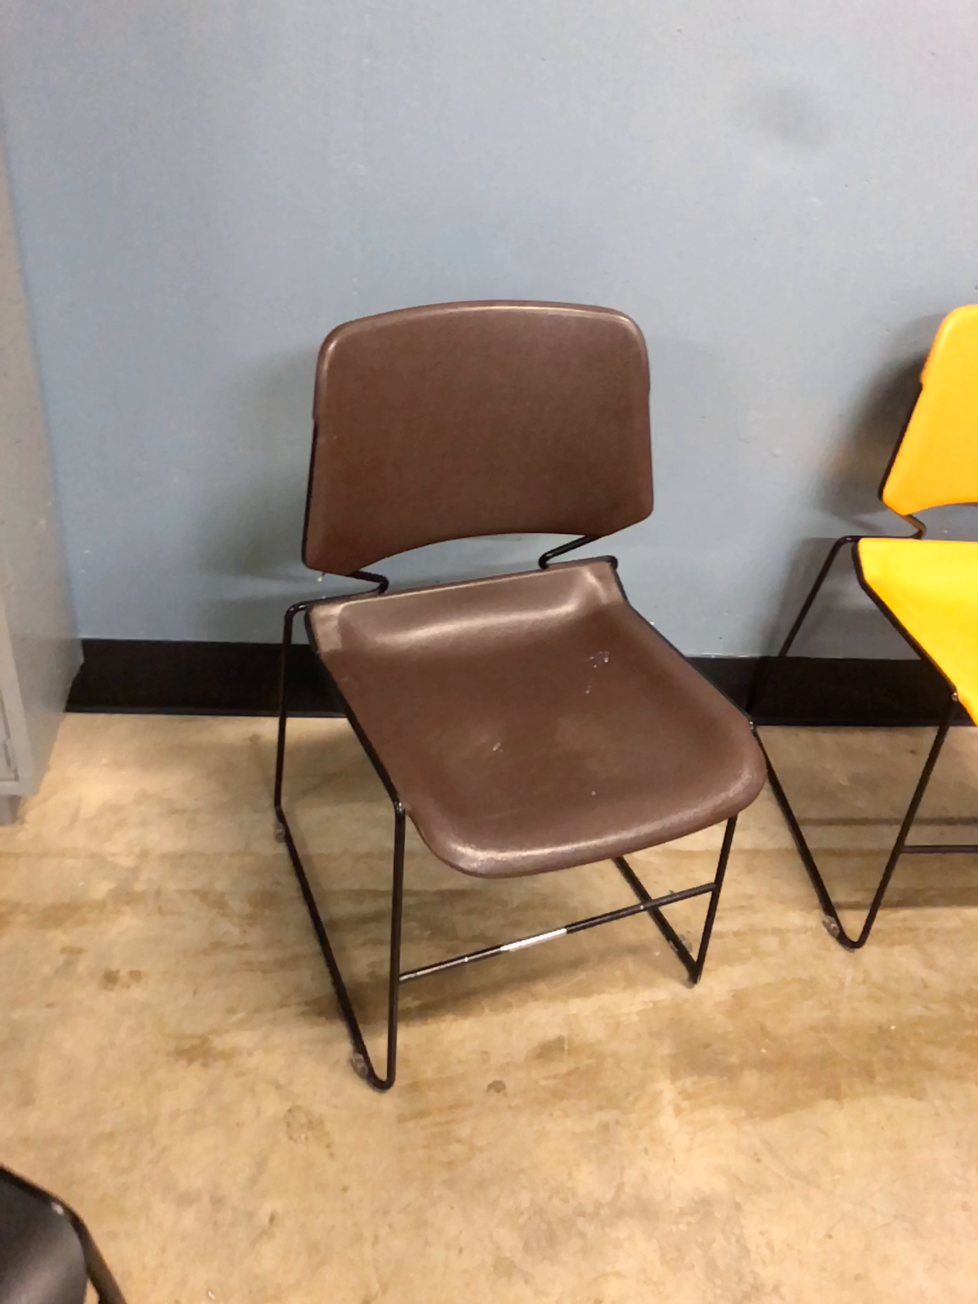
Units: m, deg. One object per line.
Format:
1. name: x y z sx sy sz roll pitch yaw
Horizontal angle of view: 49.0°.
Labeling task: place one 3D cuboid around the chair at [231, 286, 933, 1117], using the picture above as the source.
1. chair: 0.025 0.034 1.306 0.516 0.751 0.547 -11 41 -23
